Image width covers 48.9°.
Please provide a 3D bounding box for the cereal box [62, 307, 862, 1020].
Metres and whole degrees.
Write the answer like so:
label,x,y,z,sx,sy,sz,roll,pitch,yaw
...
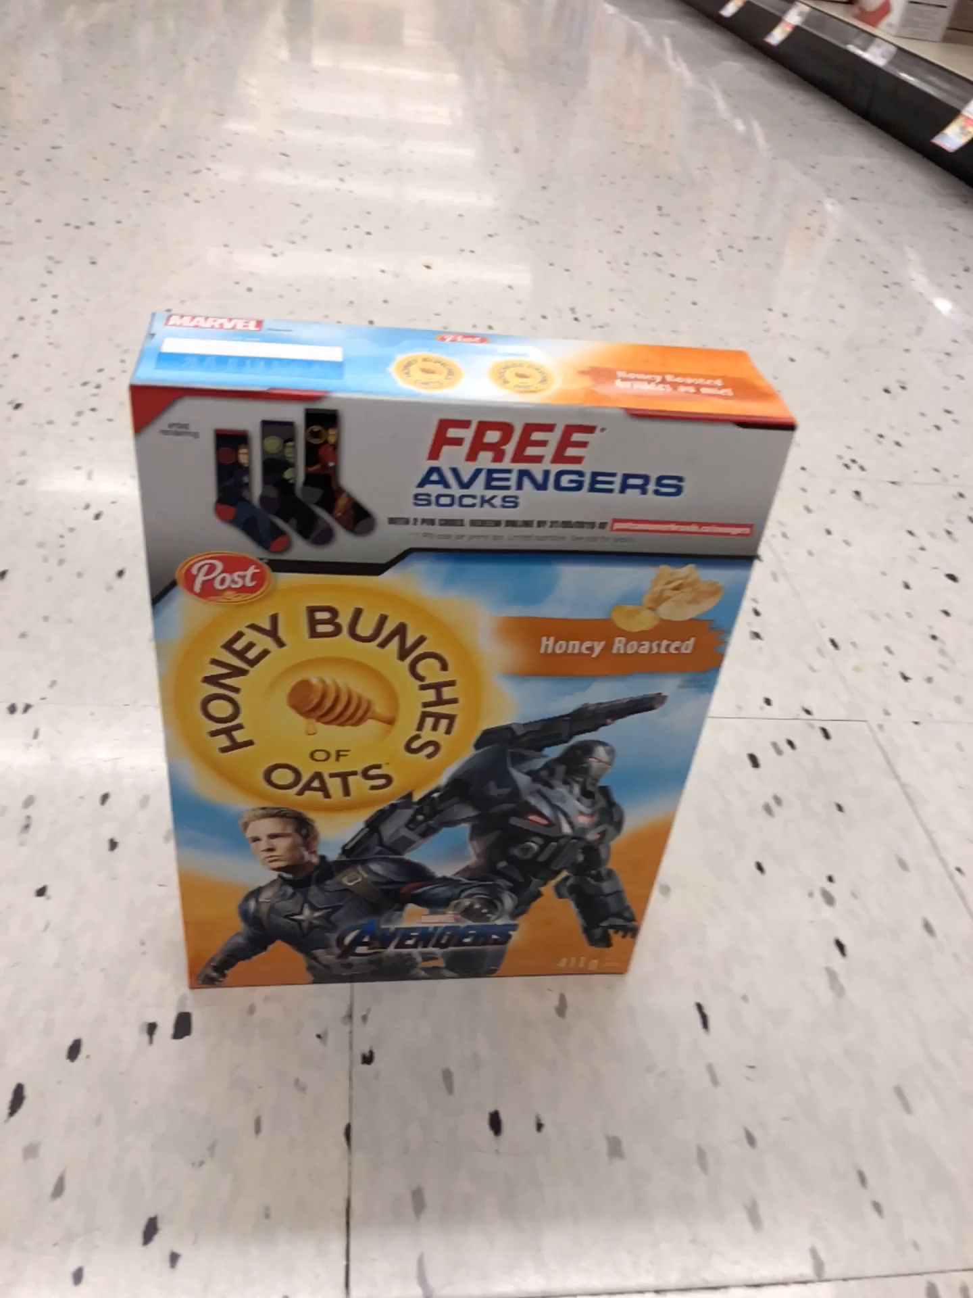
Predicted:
label,x,y,z,sx,sy,sz,roll,pitch,yaw
cereal box,-0.018,0.024,0.379,0.210,0.258,0.060,1,37,-10
